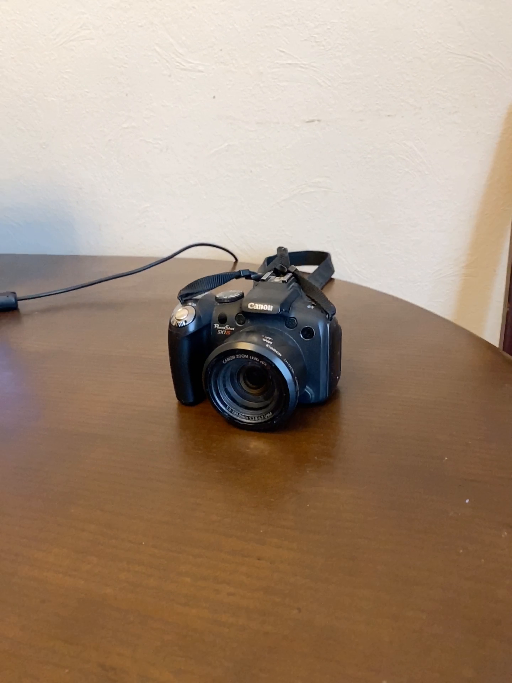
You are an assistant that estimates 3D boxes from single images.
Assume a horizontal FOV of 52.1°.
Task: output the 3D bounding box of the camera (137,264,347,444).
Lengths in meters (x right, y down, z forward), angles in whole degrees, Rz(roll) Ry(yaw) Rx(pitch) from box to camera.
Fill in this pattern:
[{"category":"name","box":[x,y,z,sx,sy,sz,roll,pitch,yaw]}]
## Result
[{"category":"camera","box":[-0.005,0.002,0.375,0.123,0.088,0.082,7,25,19]}]
